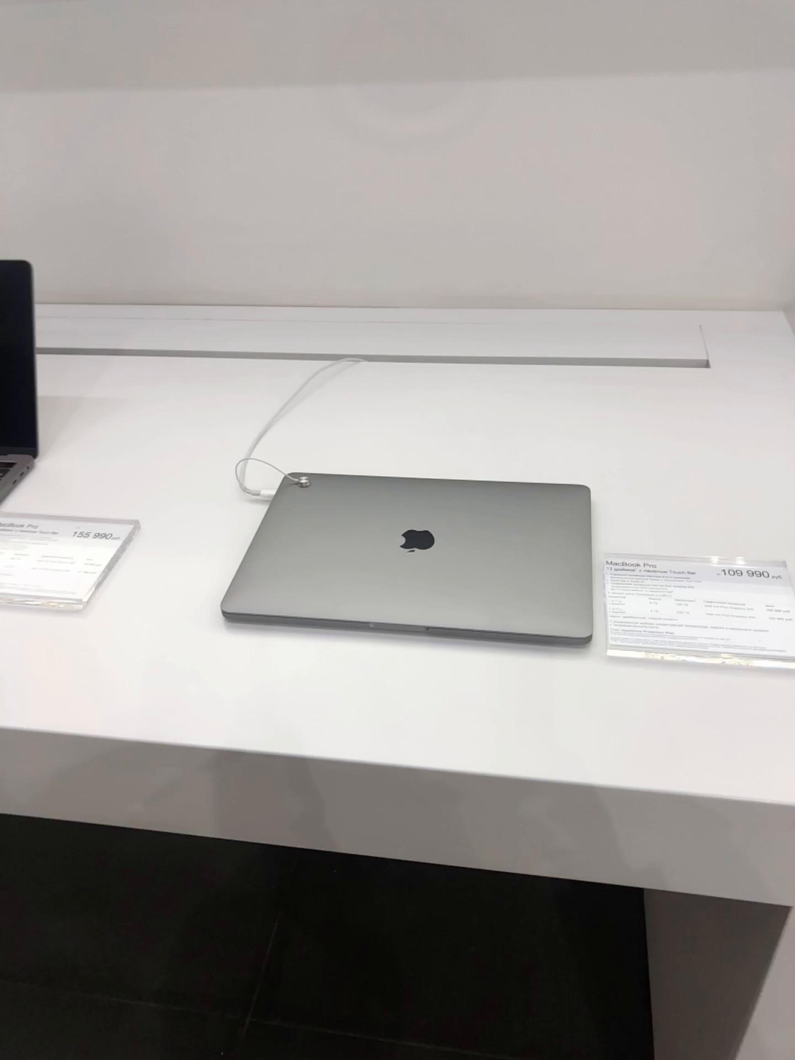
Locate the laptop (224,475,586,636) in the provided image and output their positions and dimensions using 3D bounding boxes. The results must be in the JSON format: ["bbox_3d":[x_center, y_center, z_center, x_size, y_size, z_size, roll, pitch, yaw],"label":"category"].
[{"bbox_3d":[0.018,0.013,0.774,0.293,0.001,0.199,3,37,10],"label":"laptop"}]
